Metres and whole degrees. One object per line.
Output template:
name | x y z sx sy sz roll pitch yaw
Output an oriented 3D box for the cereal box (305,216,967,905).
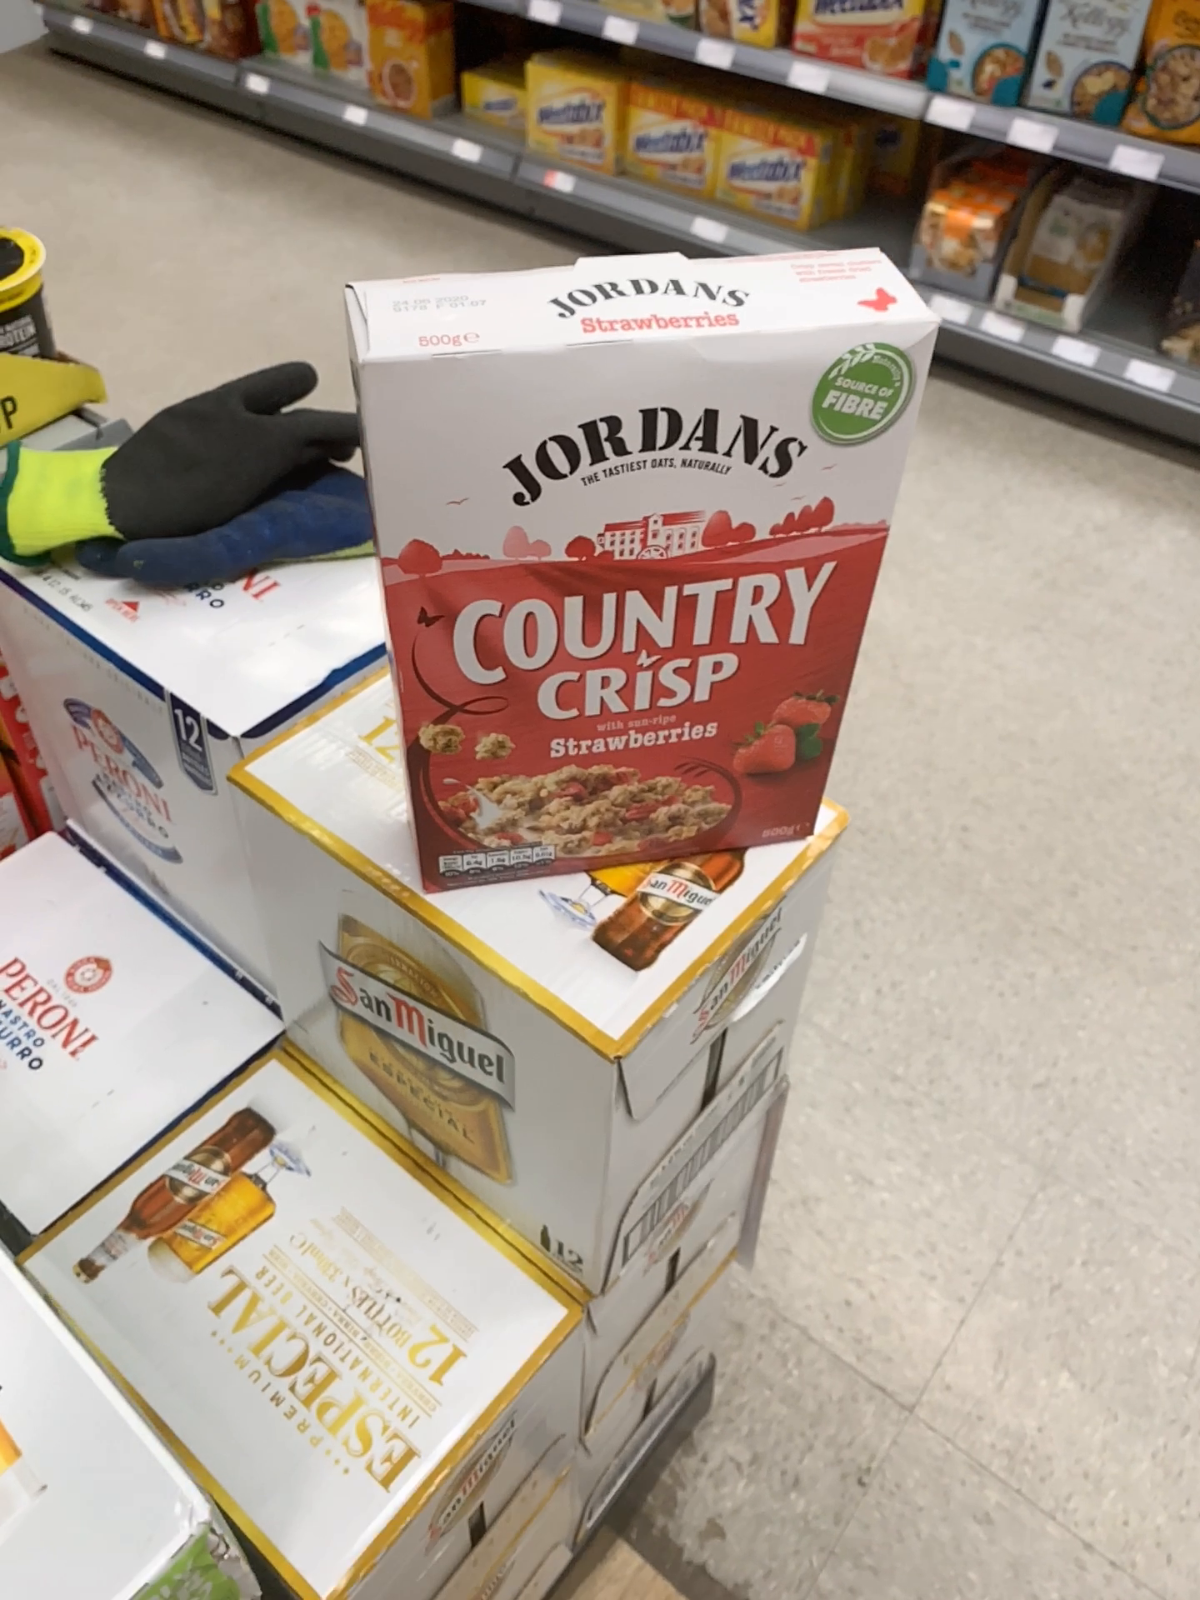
cereal box | 0.004 -0.075 0.461 0.190 0.248 0.061 -8 48 -11
